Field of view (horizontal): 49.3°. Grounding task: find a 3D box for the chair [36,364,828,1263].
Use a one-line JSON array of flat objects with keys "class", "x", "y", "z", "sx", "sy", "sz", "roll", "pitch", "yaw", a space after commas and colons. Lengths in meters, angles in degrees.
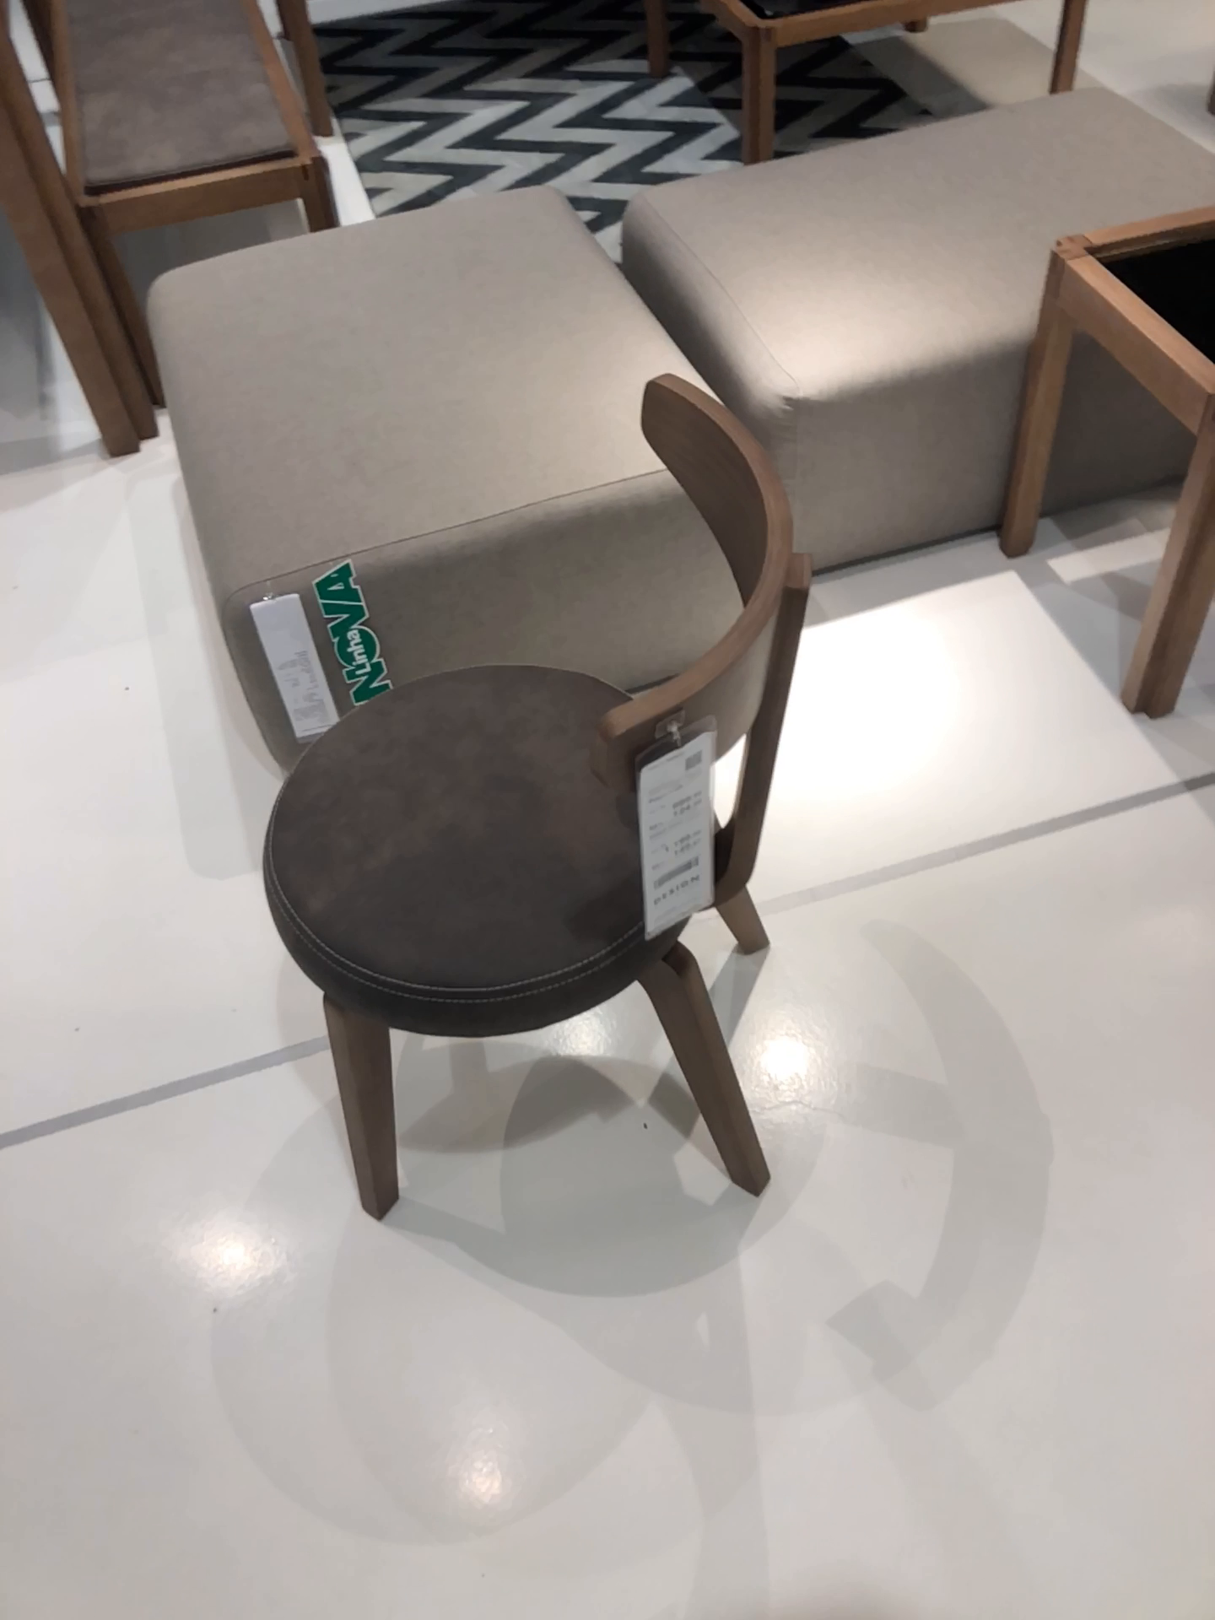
[{"class": "chair", "x": -0.067, "y": 0.028, "z": 1.278, "sx": 0.520, "sy": 0.705, "sz": 0.503, "roll": 2, "pitch": 49, "yaw": 8}]
